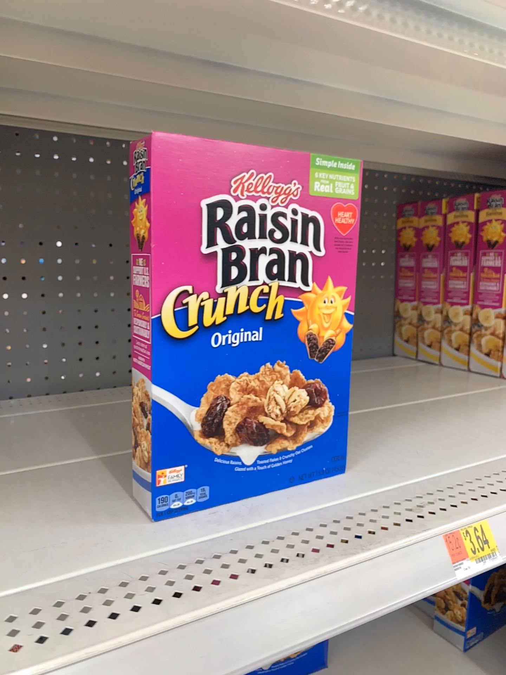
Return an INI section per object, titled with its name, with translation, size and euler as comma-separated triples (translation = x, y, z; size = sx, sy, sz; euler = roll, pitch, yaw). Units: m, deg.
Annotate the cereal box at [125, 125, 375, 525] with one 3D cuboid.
[cereal box]
translation = 0.003, -0.012, 0.435
size = 0.200, 0.279, 0.050
euler = -4, 9, -29
